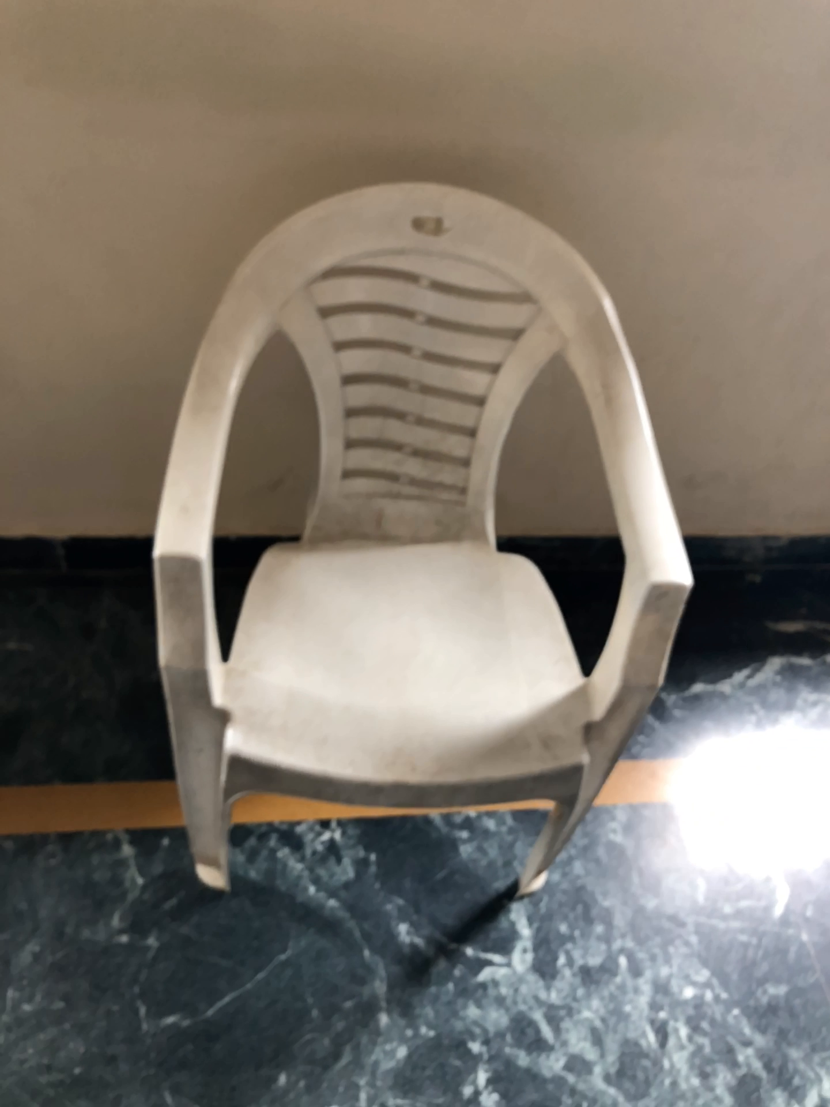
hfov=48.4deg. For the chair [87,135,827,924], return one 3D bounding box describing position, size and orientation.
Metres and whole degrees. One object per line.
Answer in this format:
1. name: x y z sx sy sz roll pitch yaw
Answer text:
1. chair: -0.027 0.008 1.201 0.580 0.775 0.623 1 49 -9
